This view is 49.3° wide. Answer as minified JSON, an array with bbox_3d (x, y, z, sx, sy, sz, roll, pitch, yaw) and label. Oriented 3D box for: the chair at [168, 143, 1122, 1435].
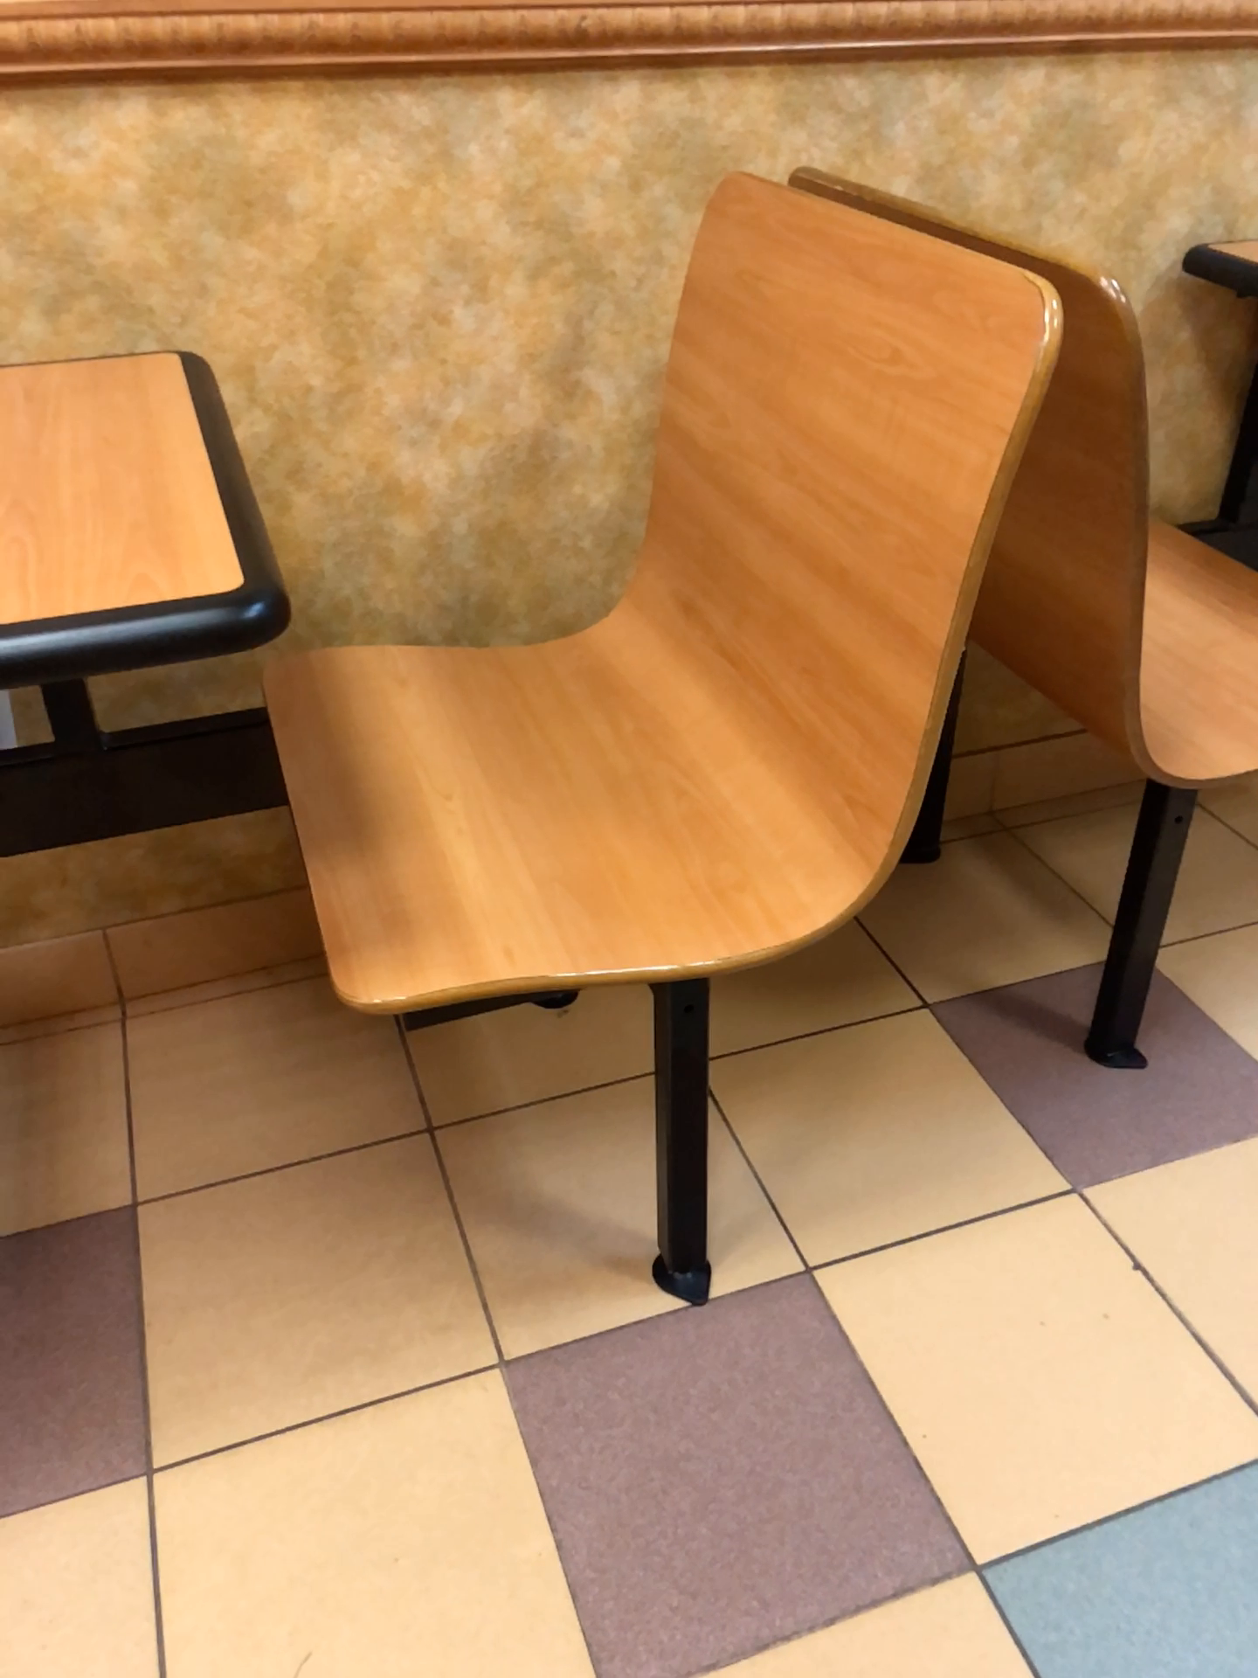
[{"bbox_3d":[-0.054,-0.083,1.225,0.510,0.884,0.634,-10,34,-15],"label":"chair"}]
